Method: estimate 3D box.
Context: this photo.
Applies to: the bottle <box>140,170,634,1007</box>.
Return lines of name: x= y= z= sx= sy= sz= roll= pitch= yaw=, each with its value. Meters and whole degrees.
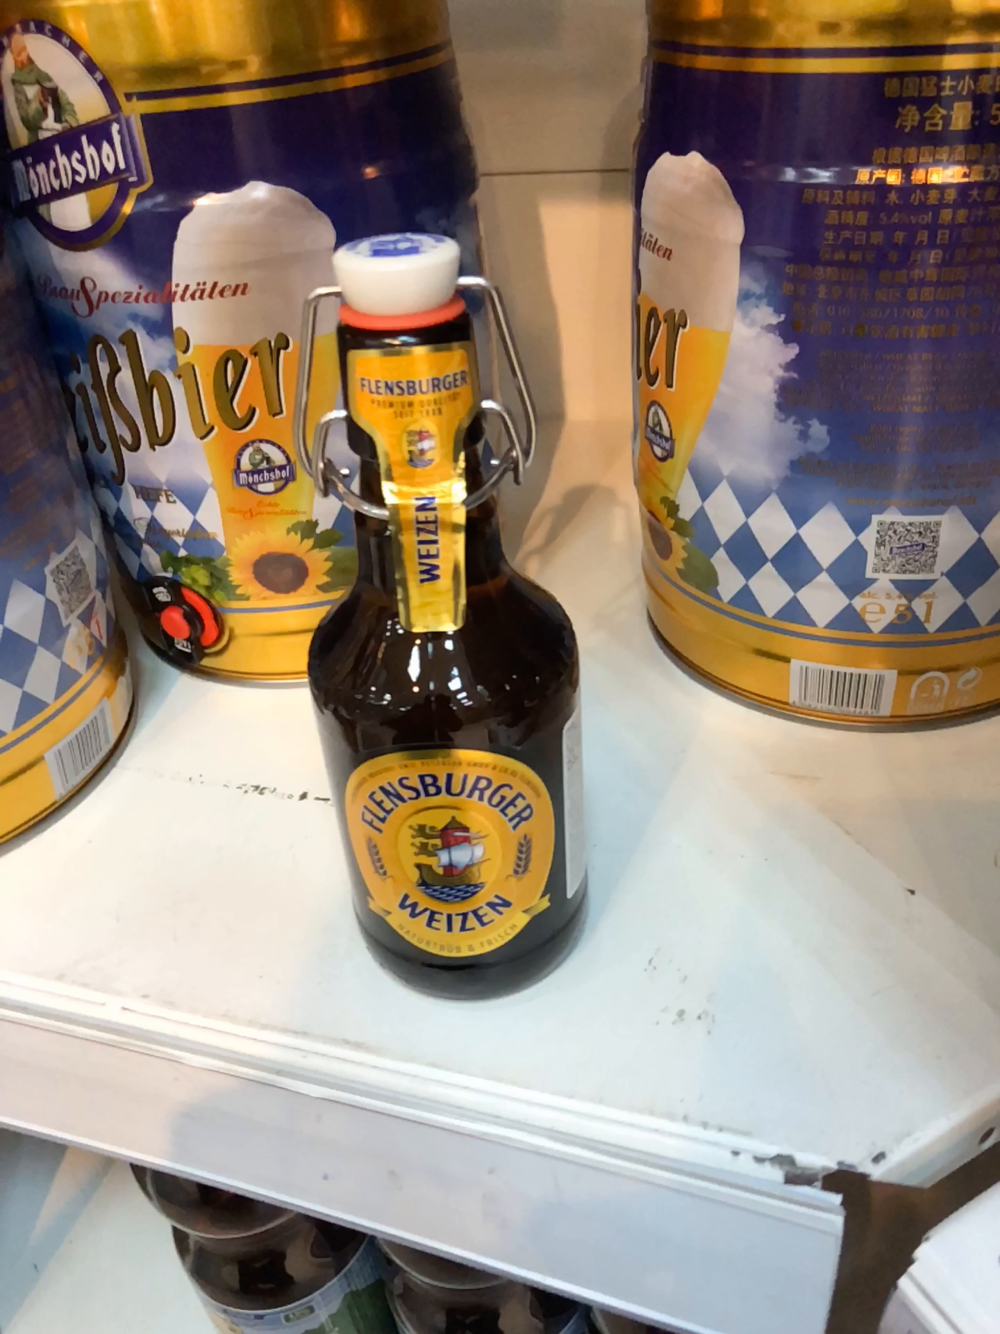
bottle: x=-0.011 y=-0.011 z=0.277 sx=0.080 sy=0.189 sz=0.080 roll=-5 pitch=34 yaw=3
